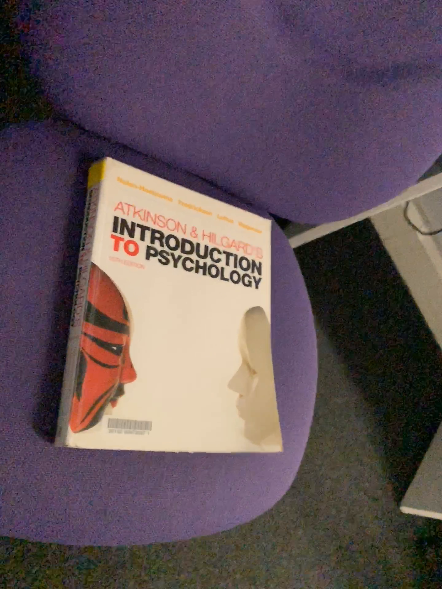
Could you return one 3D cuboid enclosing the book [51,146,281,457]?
[{"bbox_3d":[-0.036,0.016,0.472,0.223,0.035,0.283,15,66,-33],"label":"book"}]
